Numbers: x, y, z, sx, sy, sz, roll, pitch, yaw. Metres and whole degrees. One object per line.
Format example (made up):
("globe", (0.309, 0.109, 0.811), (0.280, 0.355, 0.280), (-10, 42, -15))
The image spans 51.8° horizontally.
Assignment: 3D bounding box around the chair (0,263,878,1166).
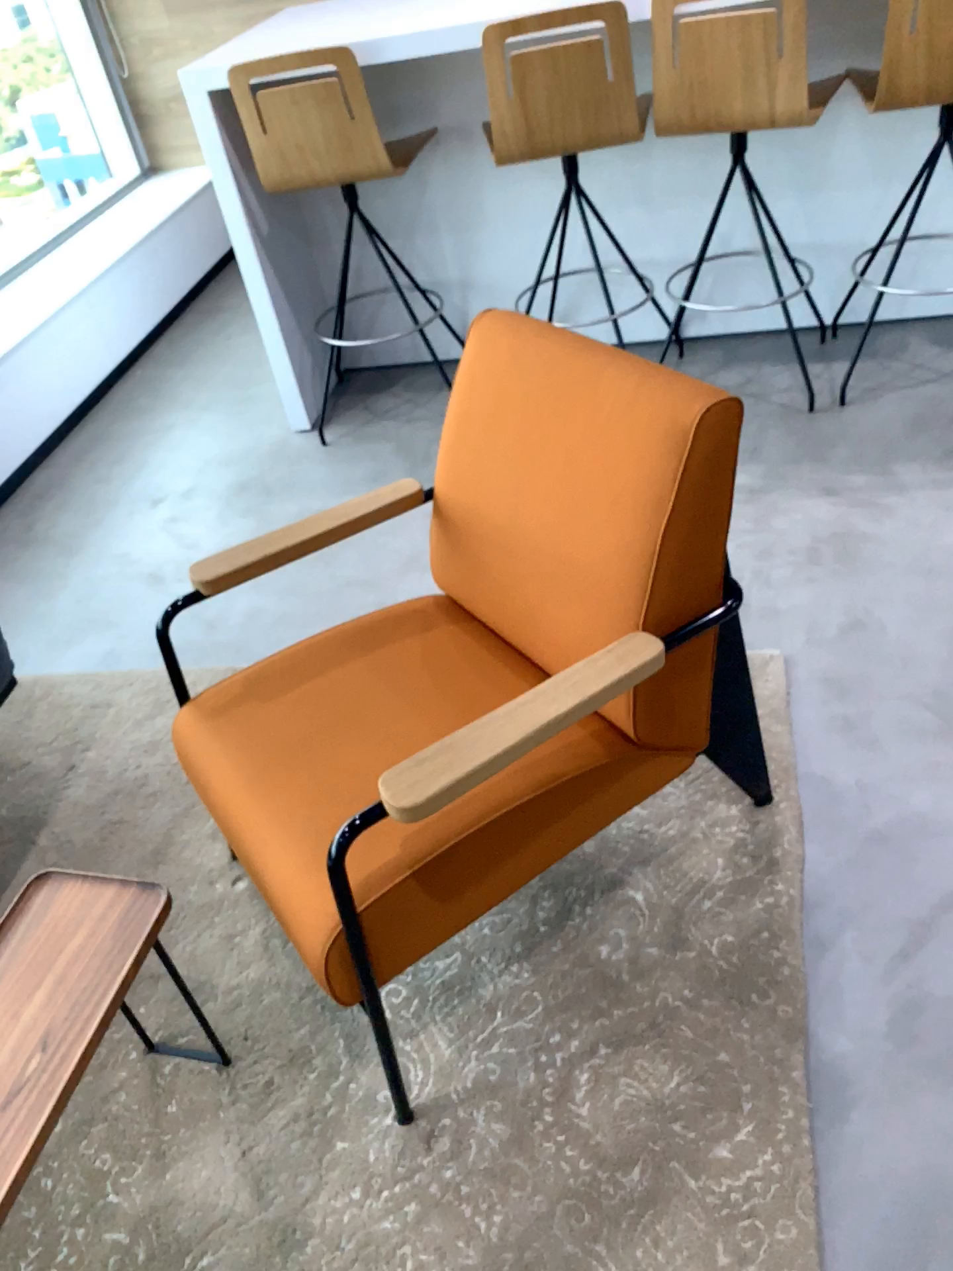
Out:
("chair", (-0.042, 0.030, 1.434), (0.861, 0.734, 0.735), (-29, 41, -20))
